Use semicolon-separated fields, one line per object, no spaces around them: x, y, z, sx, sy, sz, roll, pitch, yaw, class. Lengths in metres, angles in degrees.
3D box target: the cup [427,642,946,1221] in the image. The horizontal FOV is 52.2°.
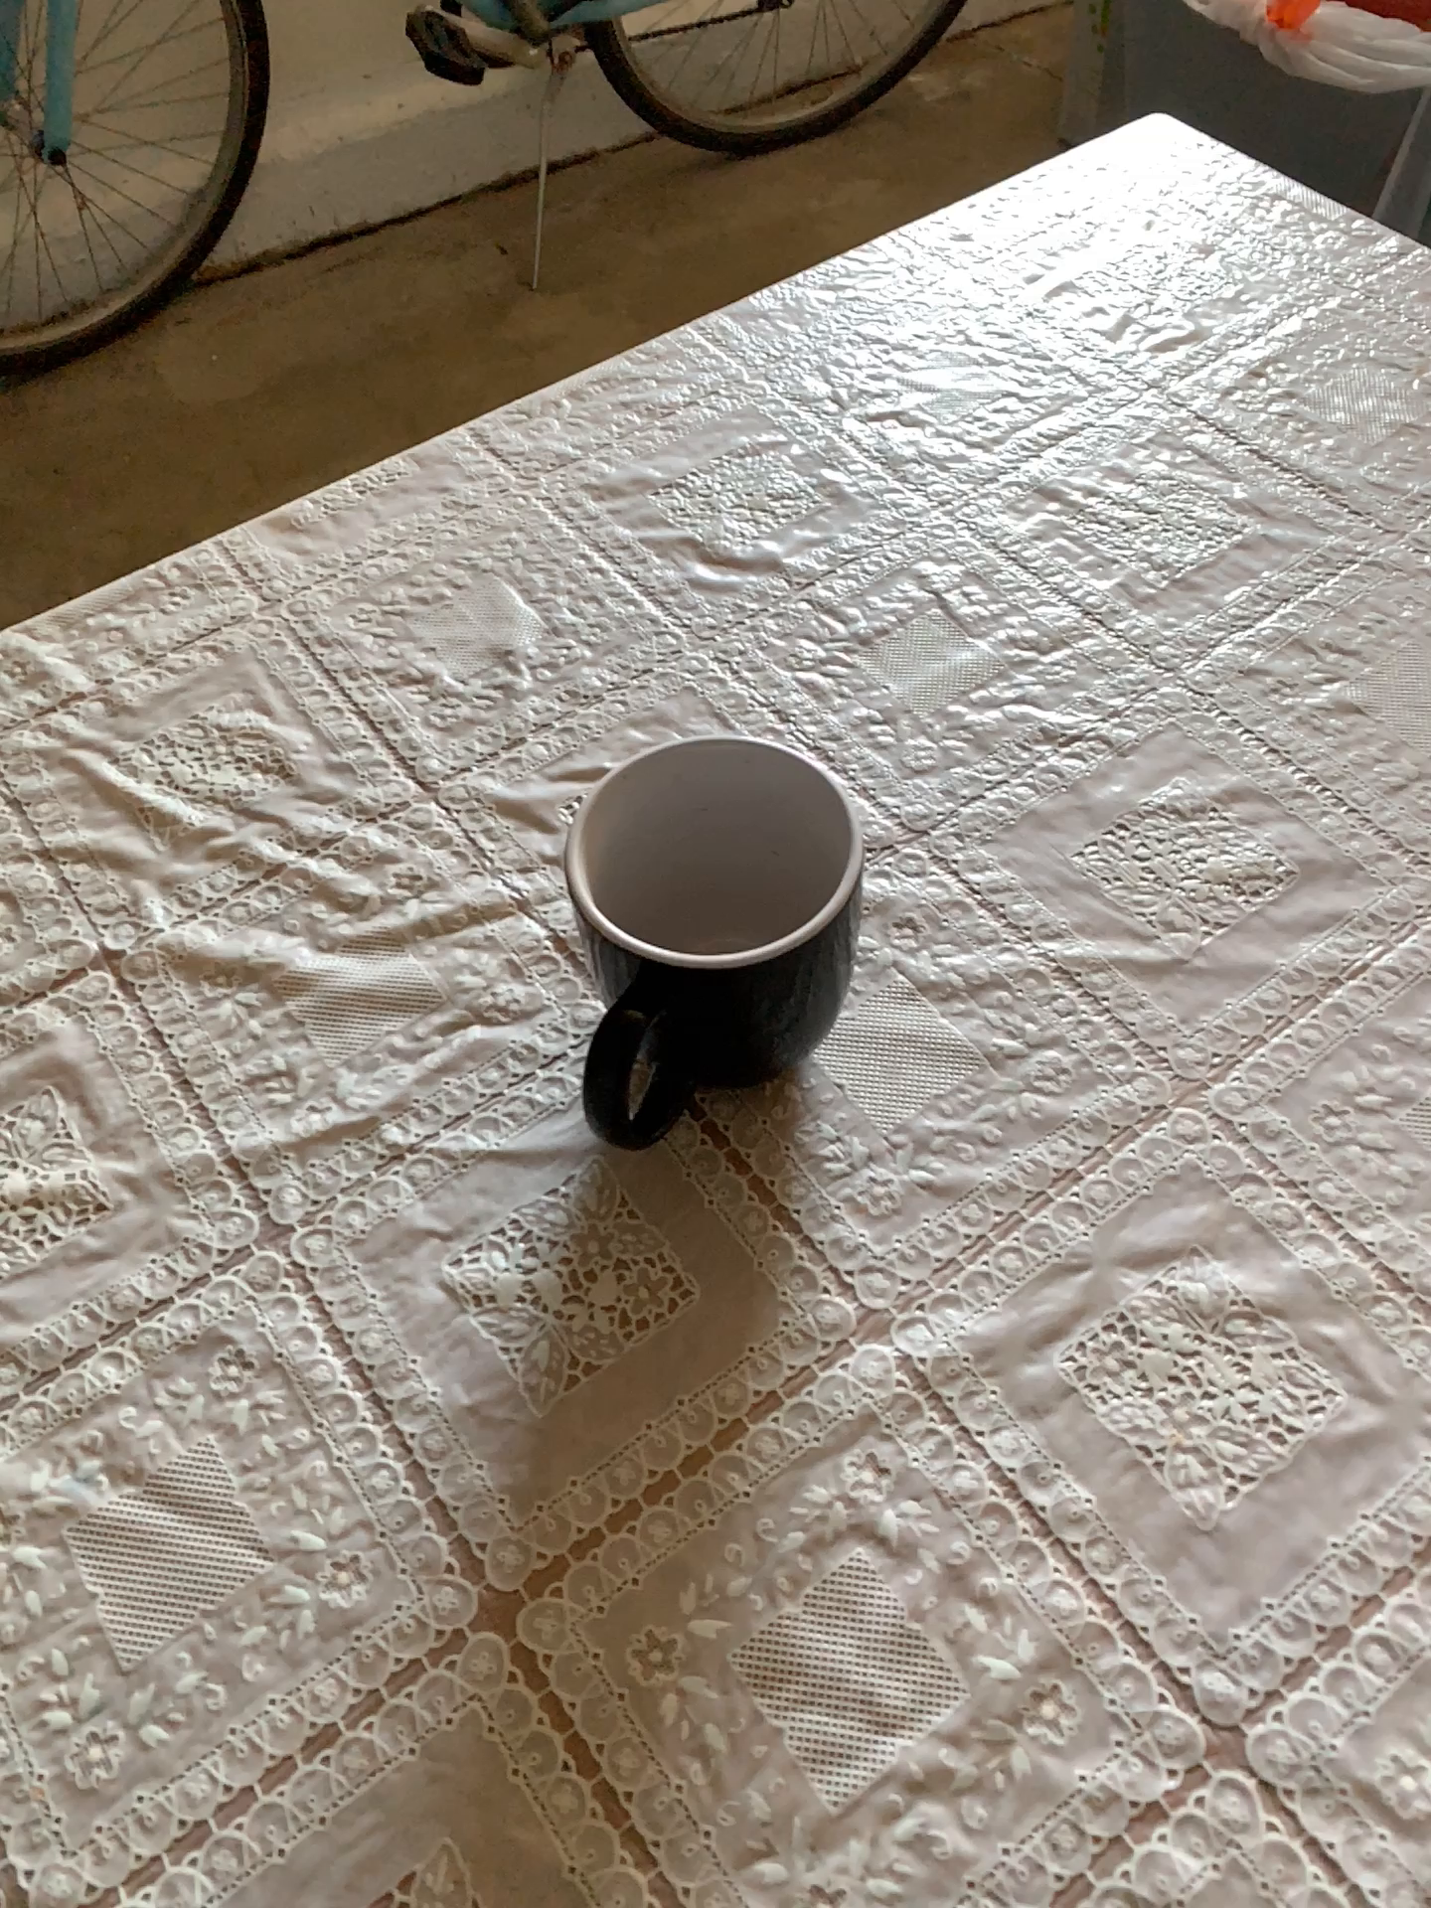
-0.004;-0.009;0.501;0.100;0.100;0.140;30;64;21;cup
